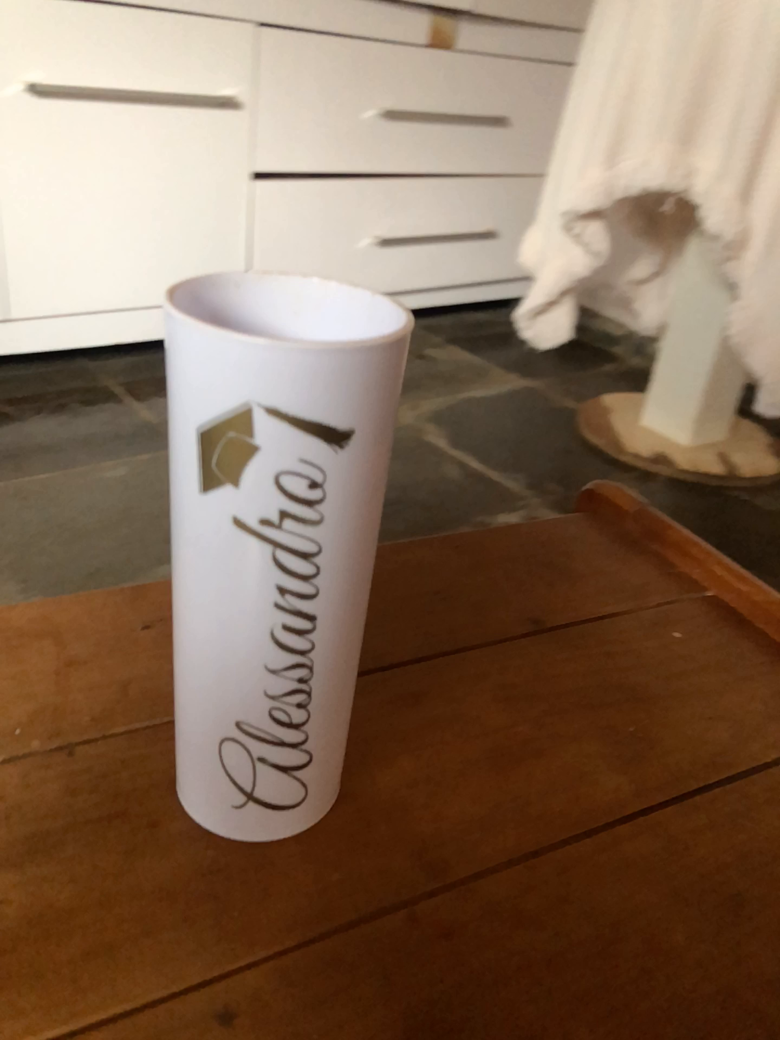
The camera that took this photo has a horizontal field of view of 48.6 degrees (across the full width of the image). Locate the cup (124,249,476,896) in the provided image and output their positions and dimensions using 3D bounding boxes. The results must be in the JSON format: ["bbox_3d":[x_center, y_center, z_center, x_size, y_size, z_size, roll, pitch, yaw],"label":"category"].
[{"bbox_3d":[-0.034,0.016,0.241,0.070,0.159,0.070,6,29,-3],"label":"cup"}]
